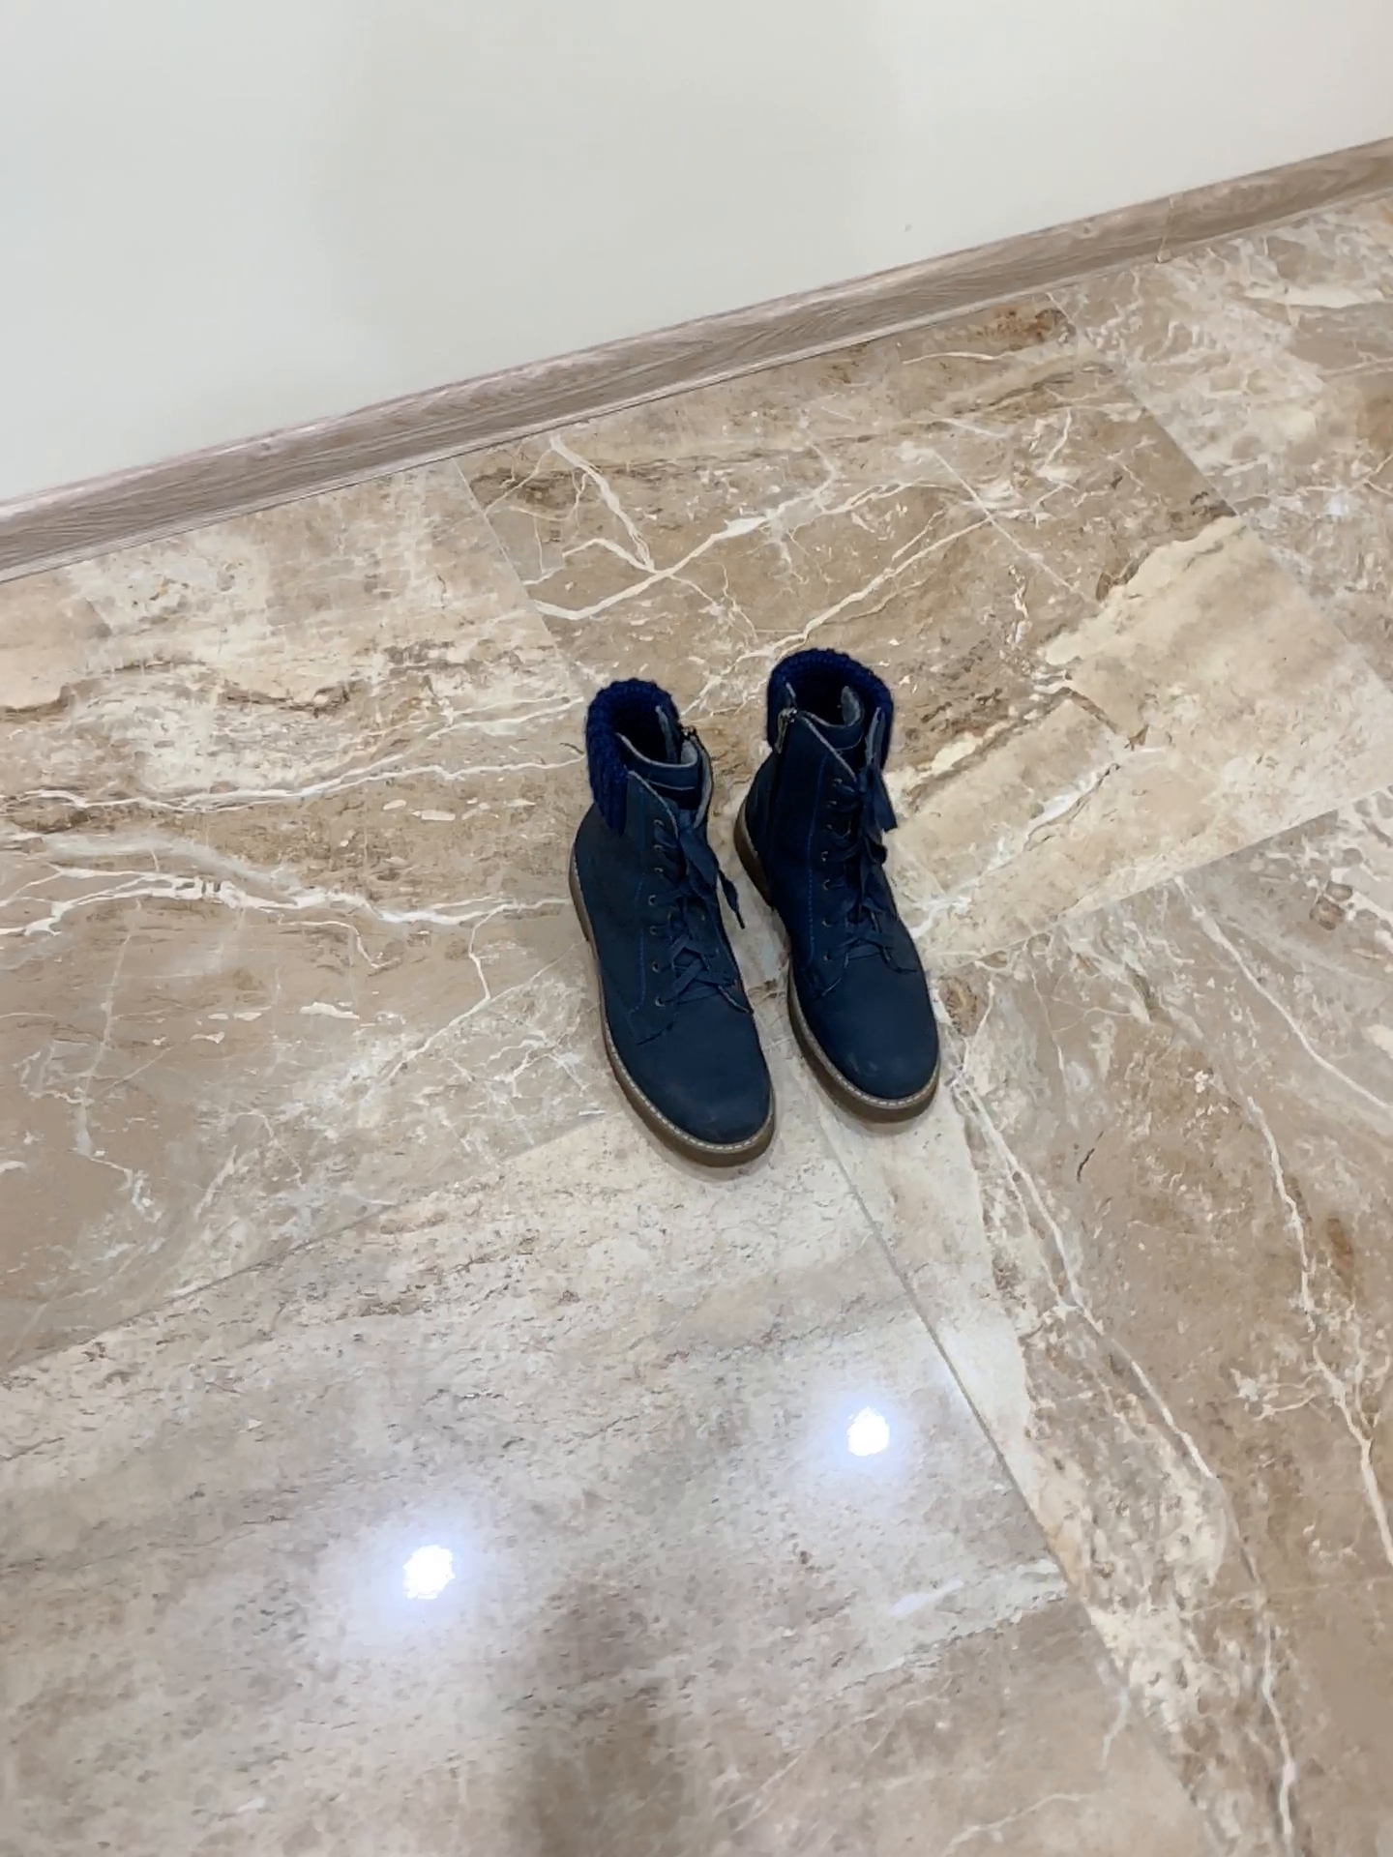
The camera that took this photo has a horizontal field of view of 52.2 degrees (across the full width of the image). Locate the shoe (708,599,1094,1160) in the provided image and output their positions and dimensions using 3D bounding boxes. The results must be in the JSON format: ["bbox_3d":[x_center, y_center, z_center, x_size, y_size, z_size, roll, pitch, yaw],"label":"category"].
[{"bbox_3d":[0.106,-0.026,0.865,0.101,0.199,0.261,-15,64,-13],"label":"shoe"}]

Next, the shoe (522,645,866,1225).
[{"bbox_3d":[-0.015,0.008,0.834,0.101,0.199,0.261,-15,64,-13],"label":"shoe"}]
